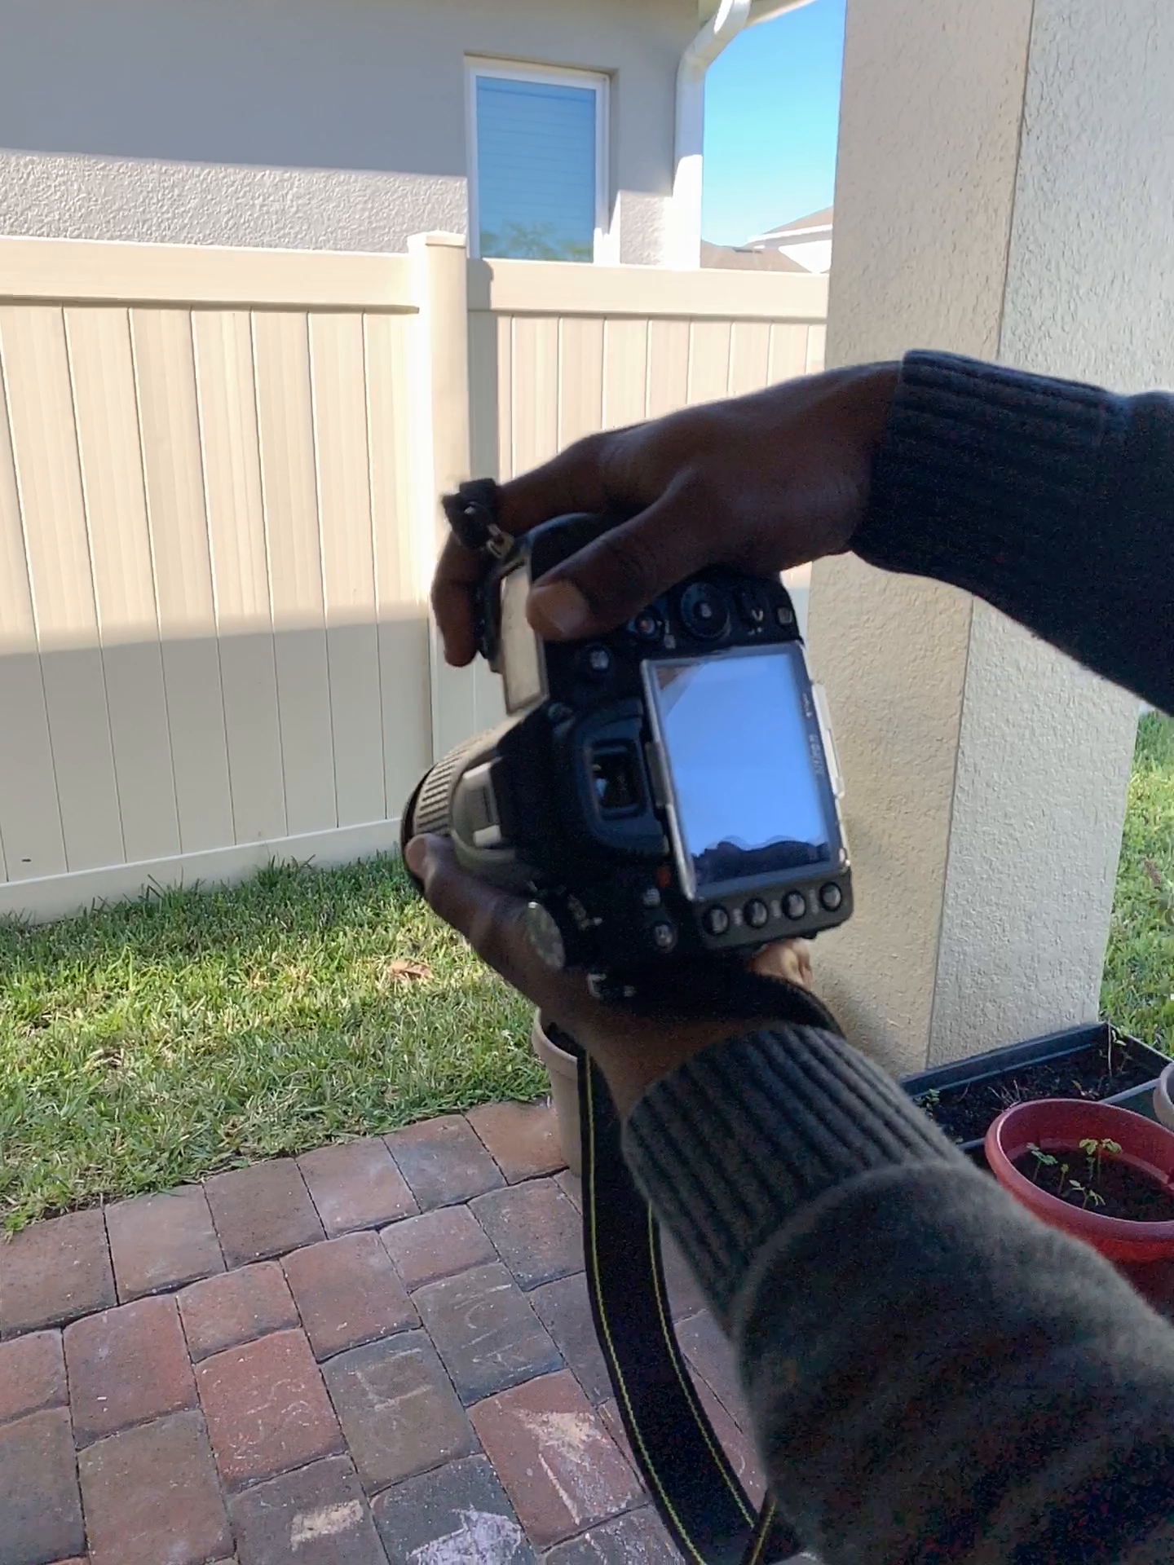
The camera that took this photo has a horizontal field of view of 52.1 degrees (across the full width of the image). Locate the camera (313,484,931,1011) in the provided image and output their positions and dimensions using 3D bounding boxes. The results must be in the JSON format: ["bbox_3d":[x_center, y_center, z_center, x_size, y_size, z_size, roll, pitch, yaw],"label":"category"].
[{"bbox_3d":[-0.004,-0.006,0.349,0.090,0.110,0.170,-9,-1,-29],"label":"camera"}]
